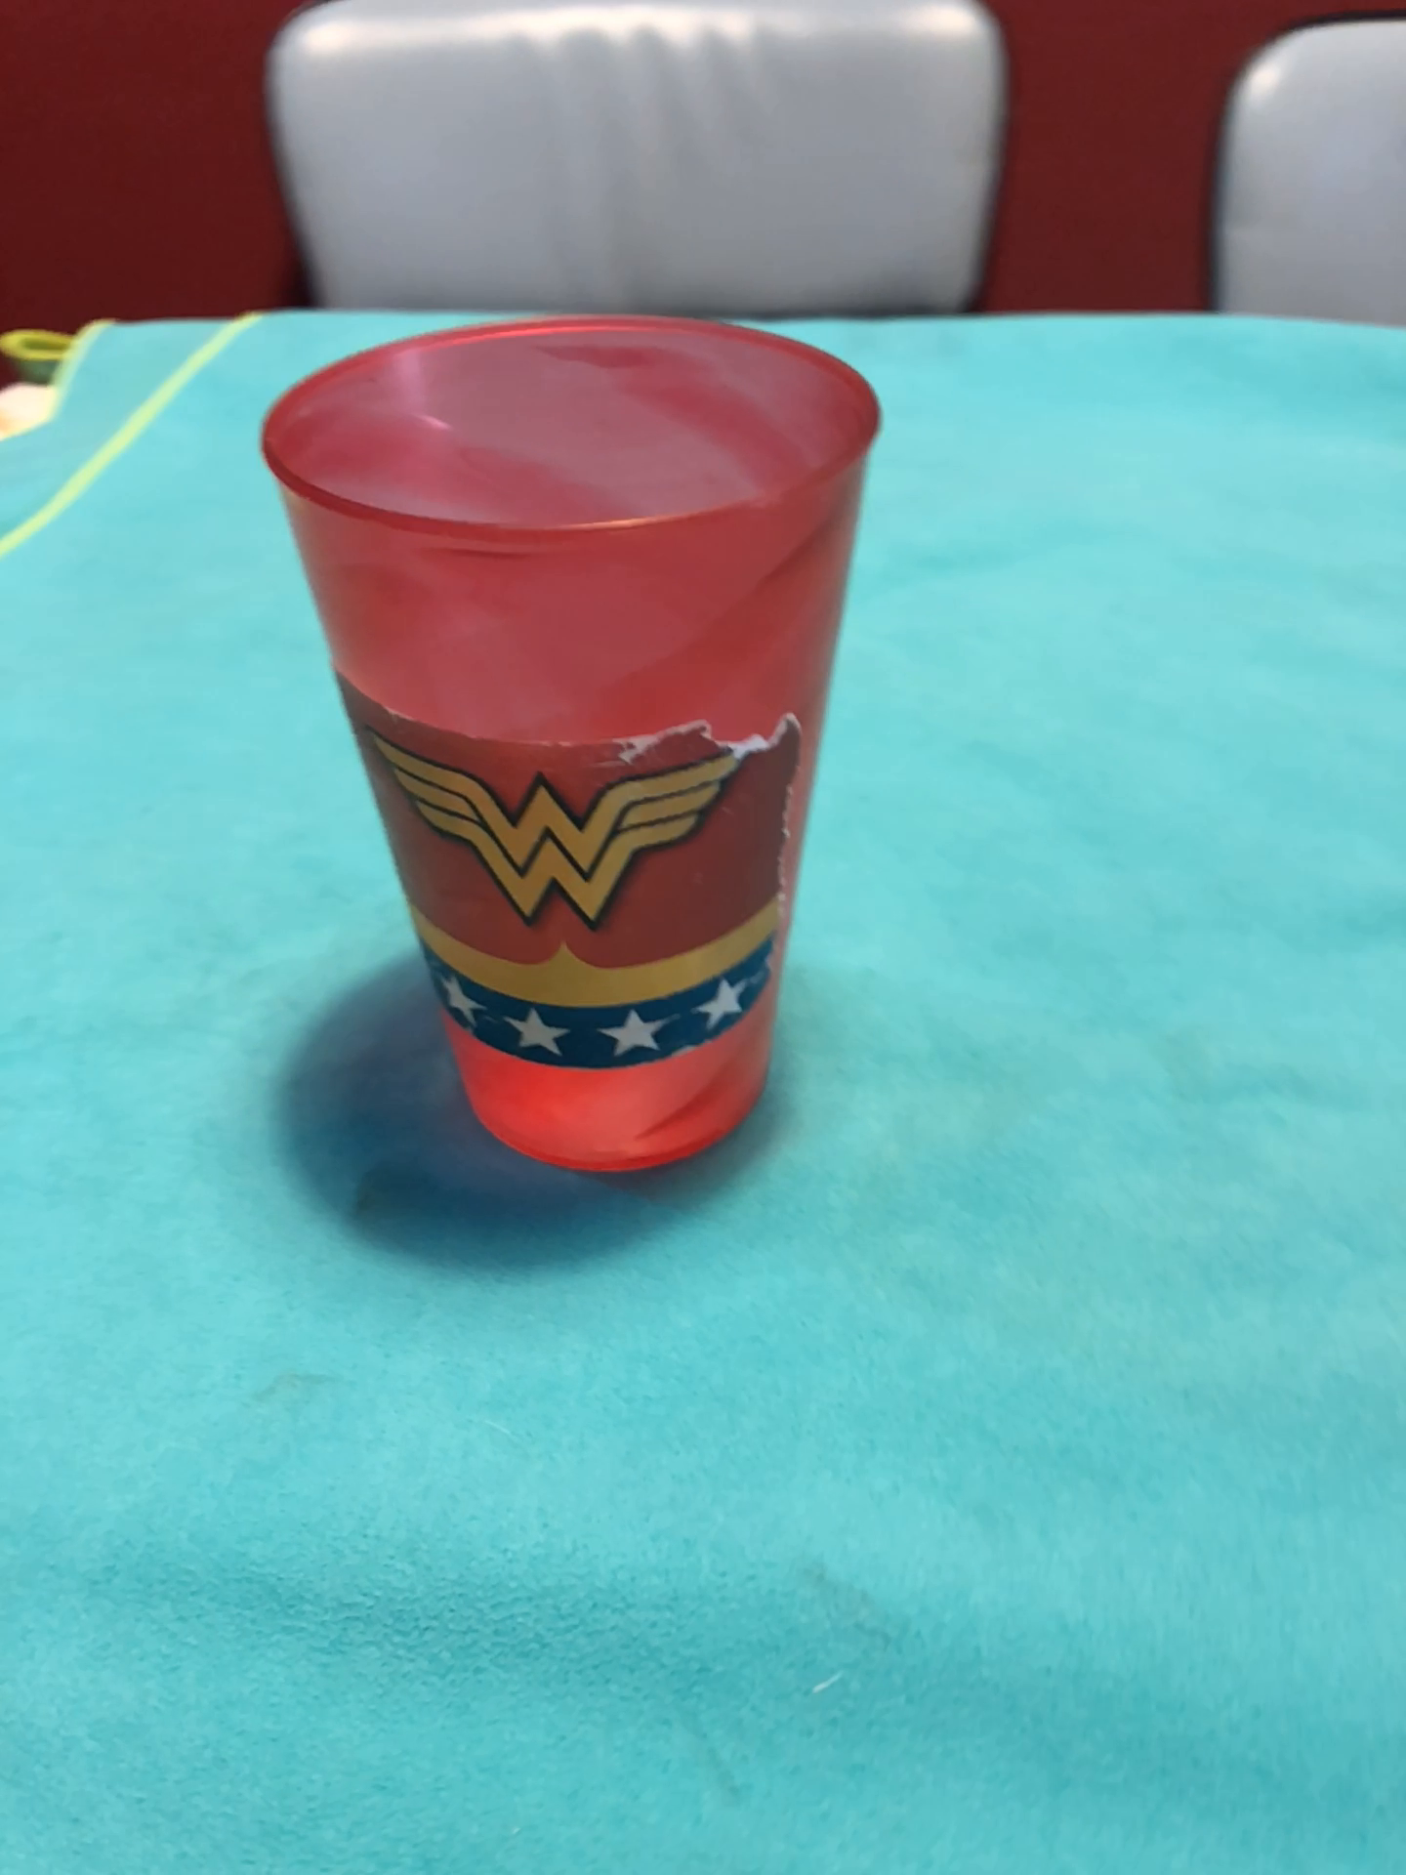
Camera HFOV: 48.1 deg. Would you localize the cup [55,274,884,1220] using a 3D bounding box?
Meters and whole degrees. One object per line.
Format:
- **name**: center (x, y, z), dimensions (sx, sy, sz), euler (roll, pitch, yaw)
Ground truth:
- **cup**: center (-0.022, -0.032, 0.242), dimensions (0.090, 0.109, 0.091), euler (-1, 38, 1)
